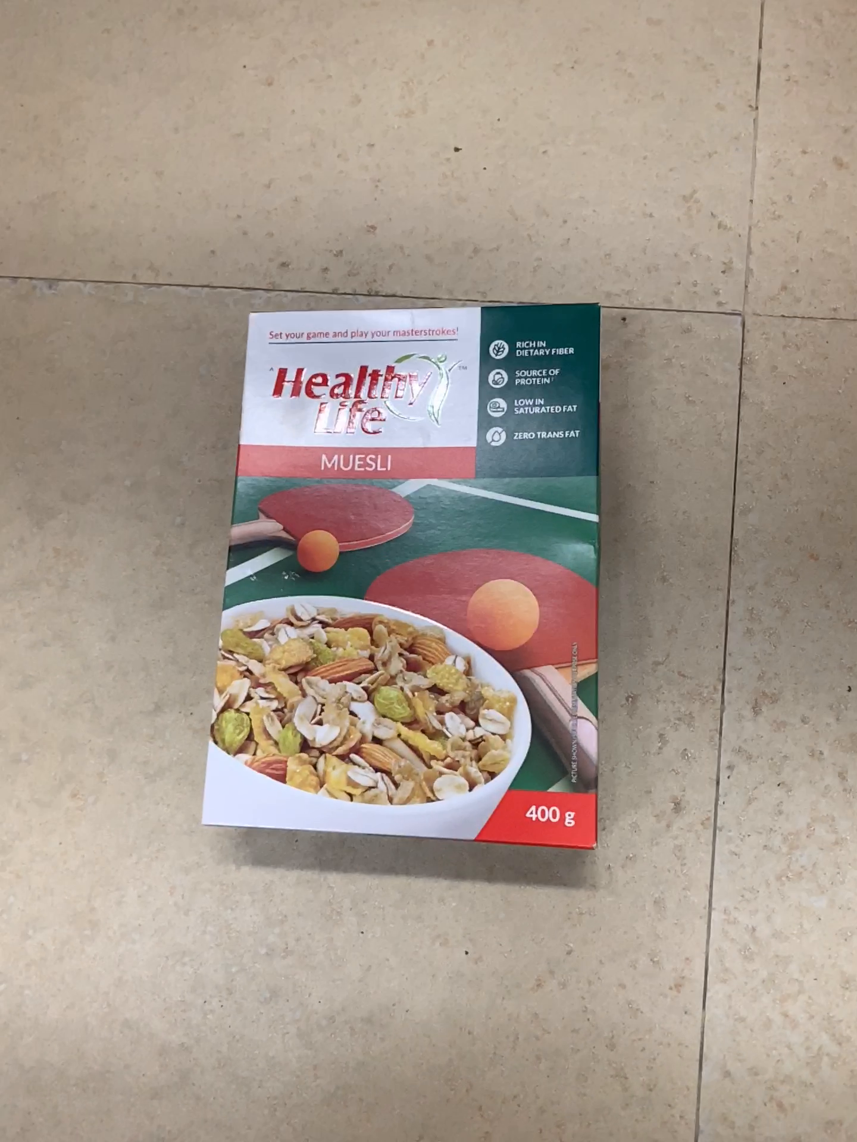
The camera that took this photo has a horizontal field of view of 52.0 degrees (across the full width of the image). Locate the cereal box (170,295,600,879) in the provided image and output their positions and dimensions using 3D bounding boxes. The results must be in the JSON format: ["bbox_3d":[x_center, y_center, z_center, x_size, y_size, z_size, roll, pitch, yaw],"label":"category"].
[{"bbox_3d":[-0.010,0.005,0.388,0.160,0.080,0.230,1,79,6],"label":"cereal box"}]
